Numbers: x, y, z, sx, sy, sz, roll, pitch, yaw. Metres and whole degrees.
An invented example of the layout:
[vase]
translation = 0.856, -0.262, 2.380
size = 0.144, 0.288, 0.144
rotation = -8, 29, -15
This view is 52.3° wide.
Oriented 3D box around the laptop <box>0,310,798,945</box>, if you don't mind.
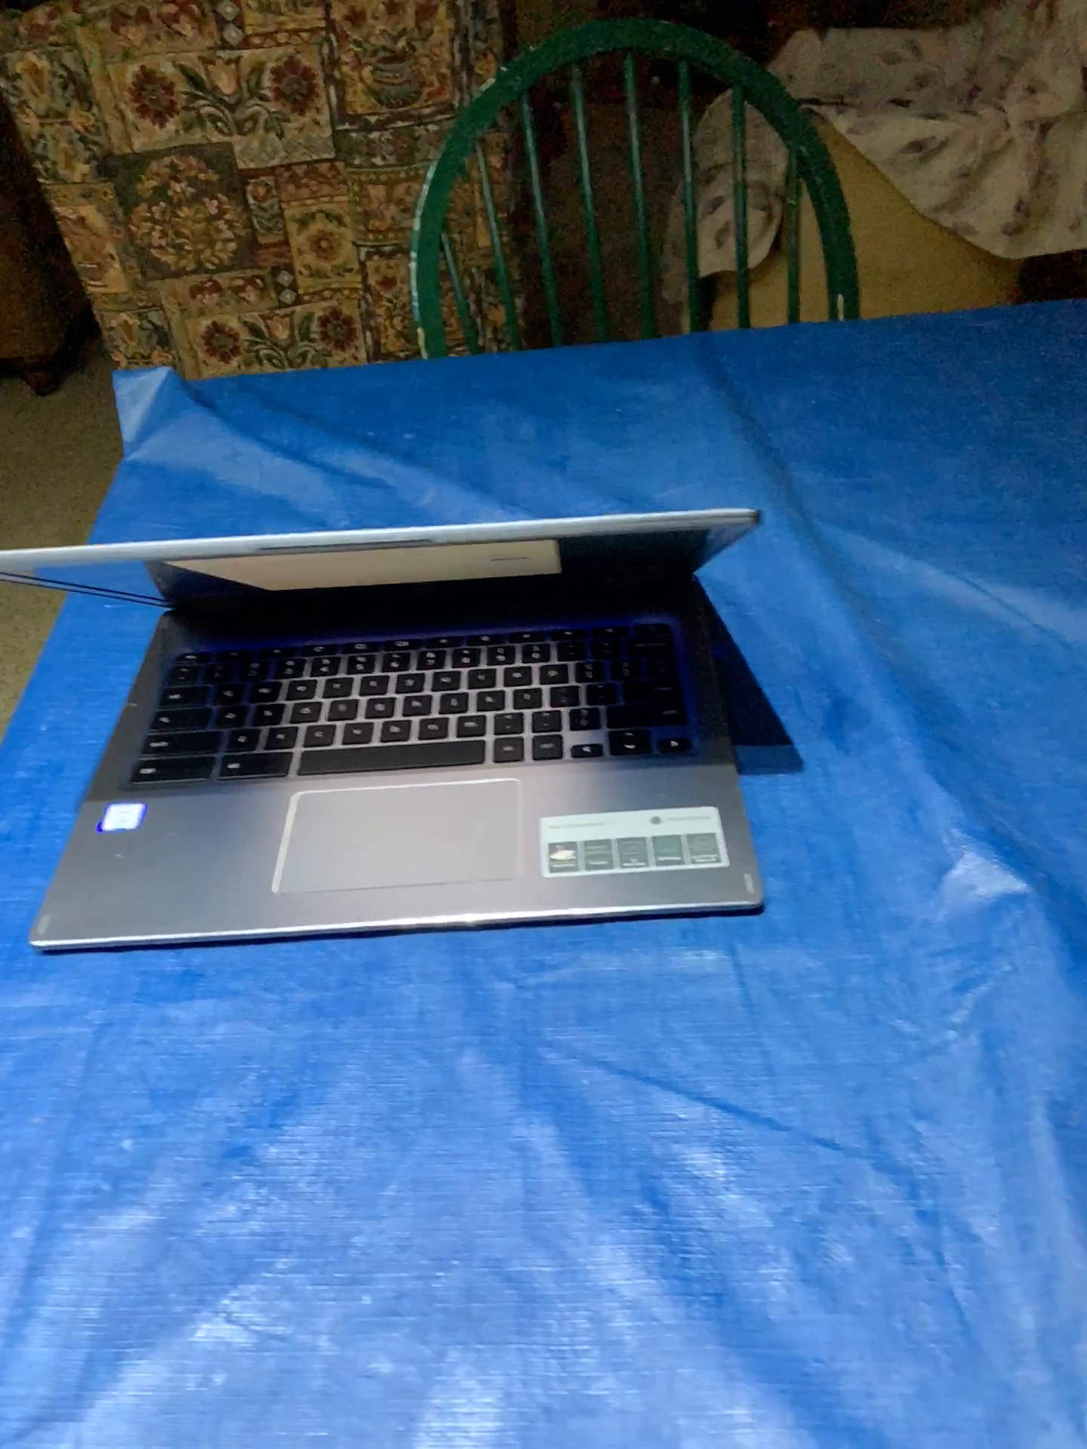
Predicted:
[laptop]
translation = -0.064, -0.056, 0.505
size = 0.303, 0.150, 0.252
rotation = -3, 41, 2
